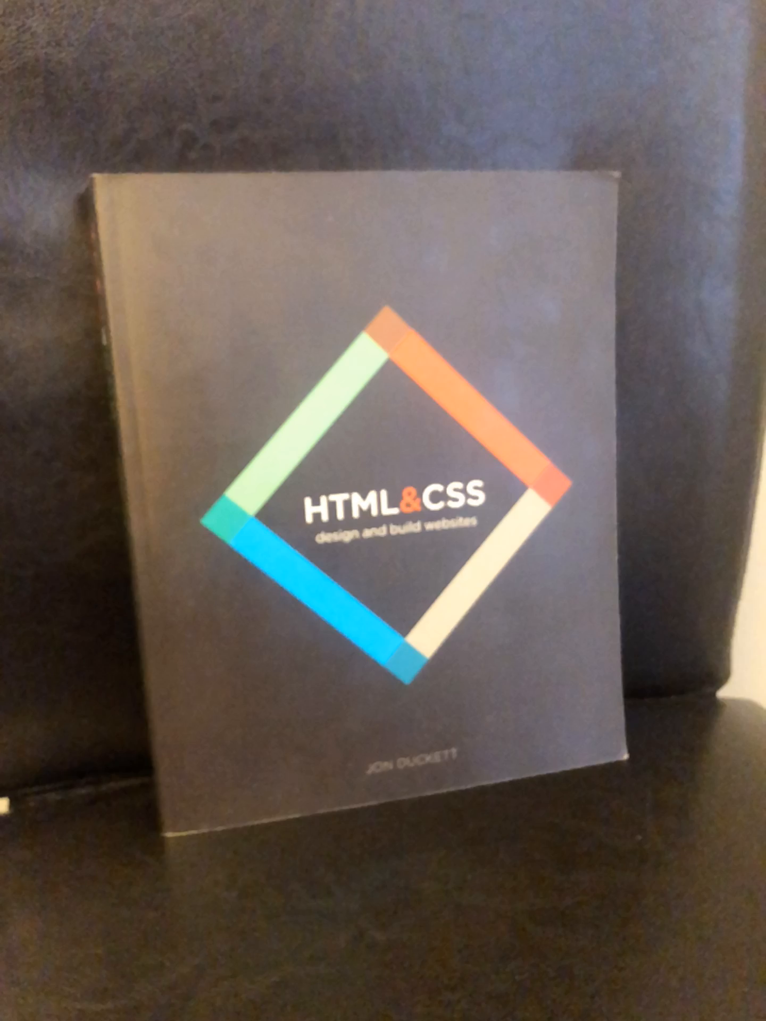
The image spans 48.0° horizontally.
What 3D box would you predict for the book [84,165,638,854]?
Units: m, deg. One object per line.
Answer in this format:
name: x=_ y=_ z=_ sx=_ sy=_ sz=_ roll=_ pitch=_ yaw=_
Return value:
book: x=0.002 y=-0.004 z=0.323 sx=0.188 sy=0.231 sz=0.030 roll=-6 pitch=10 yaw=-13
